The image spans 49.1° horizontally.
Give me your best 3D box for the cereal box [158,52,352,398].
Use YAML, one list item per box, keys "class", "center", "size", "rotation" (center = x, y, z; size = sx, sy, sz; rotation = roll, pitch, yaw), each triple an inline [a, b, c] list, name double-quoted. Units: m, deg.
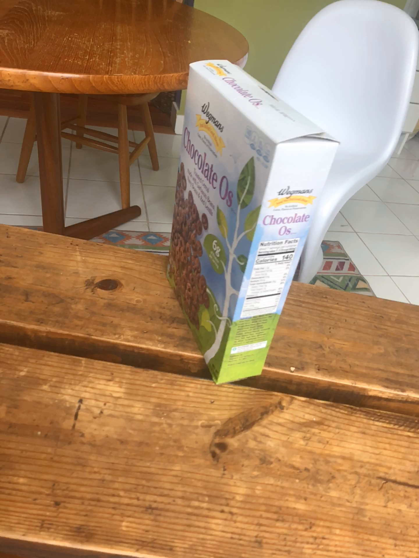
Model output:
- class: "cereal box"
  center: [0.016, -0.054, 0.476]
  size: [0.060, 0.278, 0.211]
  rotation: [-7, 41, -22]
